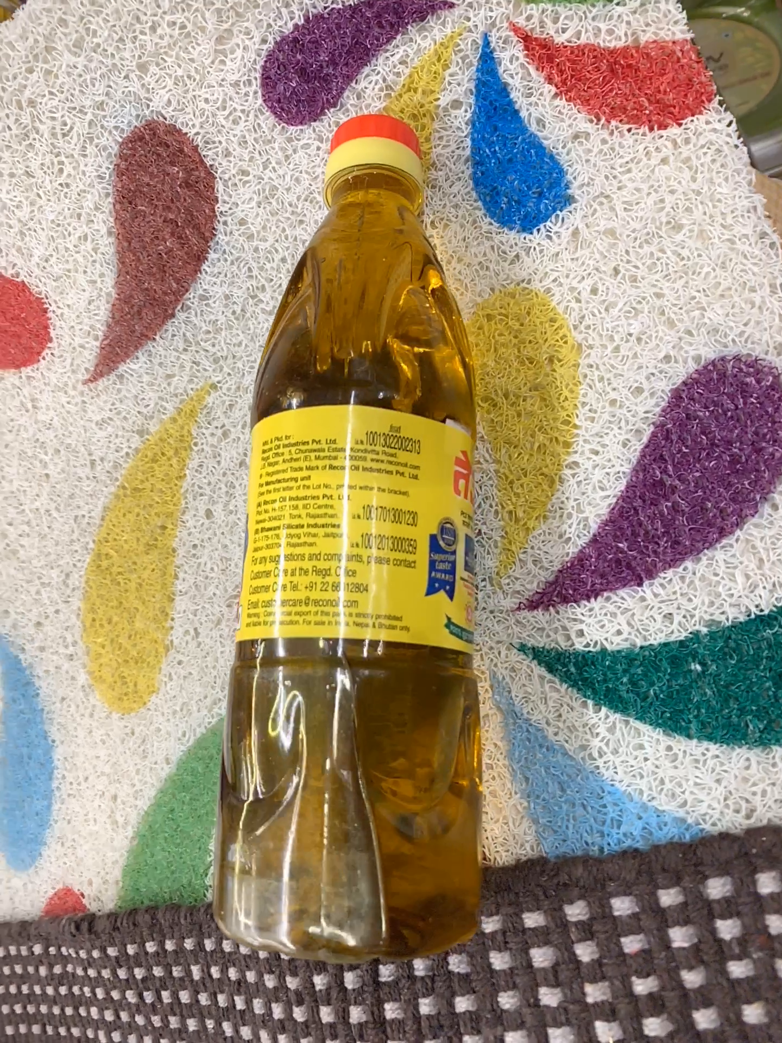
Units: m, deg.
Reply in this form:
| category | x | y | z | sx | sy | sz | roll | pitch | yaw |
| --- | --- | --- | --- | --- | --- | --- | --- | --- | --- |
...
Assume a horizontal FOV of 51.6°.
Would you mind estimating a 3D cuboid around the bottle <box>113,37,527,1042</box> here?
| category | x | y | z | sx | sy | sz | roll | pitch | yaw |
| --- | --- | --- | --- | --- | --- | --- | --- | --- | --- |
| bottle | -0.009 | 0.005 | 0.191 | 0.070 | 0.060 | 0.200 | -1 | 81 | 21 |
